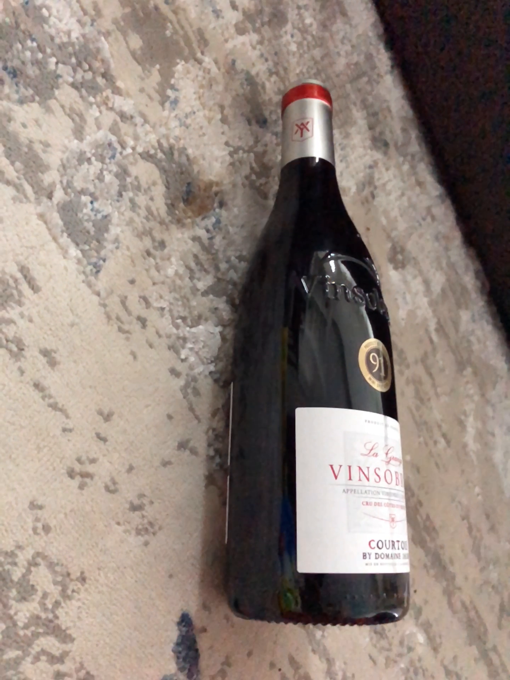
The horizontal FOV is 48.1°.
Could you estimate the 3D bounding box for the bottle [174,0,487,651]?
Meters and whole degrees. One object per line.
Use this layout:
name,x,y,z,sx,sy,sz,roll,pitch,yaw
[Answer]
bottle,0.036,-0.019,0.296,0.091,0.099,0.300,23,61,-45
